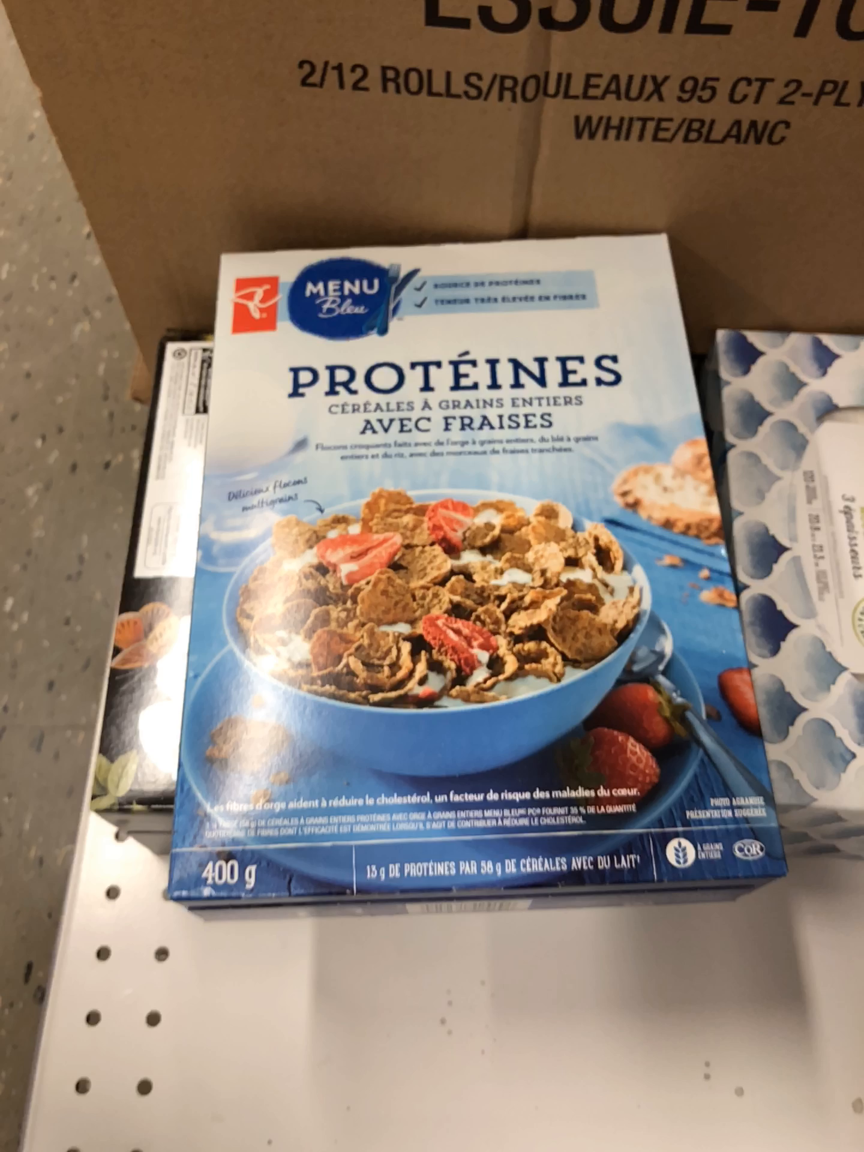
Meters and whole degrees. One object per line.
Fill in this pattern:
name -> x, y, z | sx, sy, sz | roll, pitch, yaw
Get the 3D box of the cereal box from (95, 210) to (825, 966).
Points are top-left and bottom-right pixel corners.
cereal box -> 0.003, -0.008, 0.331 | 0.190, 0.050, 0.250 | -3, 63, 1
